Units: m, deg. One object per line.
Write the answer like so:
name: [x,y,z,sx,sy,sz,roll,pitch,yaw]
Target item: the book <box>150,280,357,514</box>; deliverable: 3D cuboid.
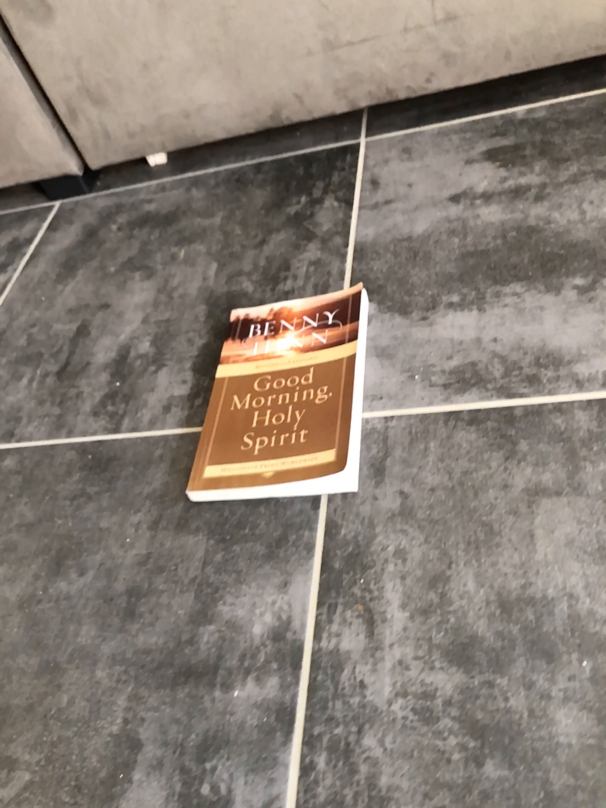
book: [-0.034,-0.014,0.583,0.150,0.020,0.231,-6,48,16]
